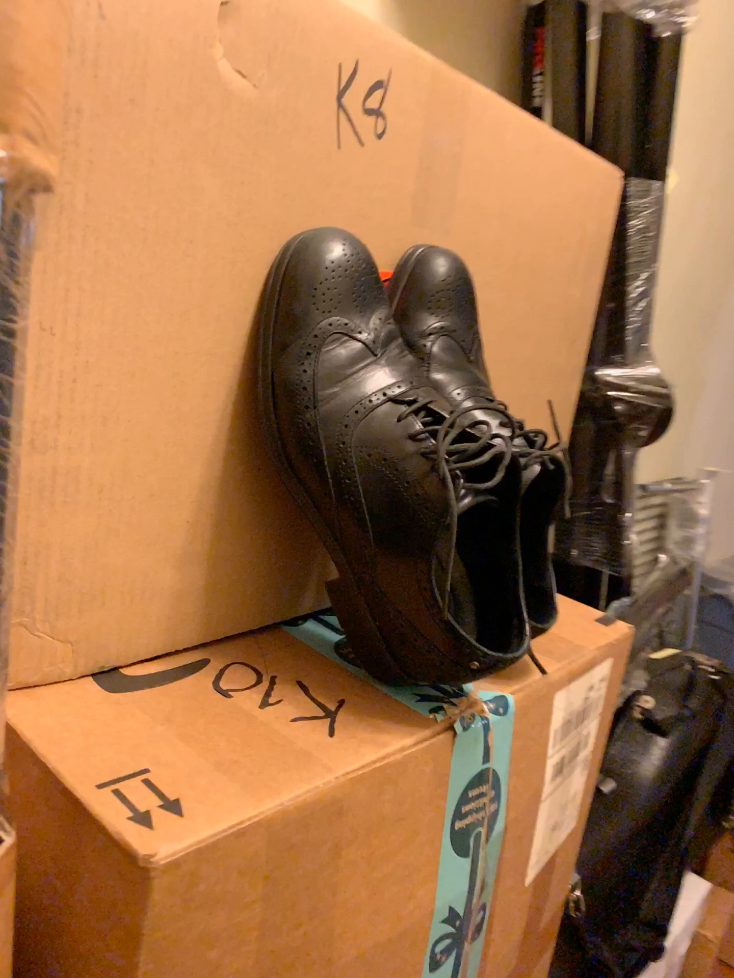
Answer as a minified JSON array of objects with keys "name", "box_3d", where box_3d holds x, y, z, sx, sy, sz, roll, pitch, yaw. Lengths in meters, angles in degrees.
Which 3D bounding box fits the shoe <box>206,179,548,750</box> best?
[{"name":"shoe","box_3d":[0.015,-0.017,0.437,0.100,0.279,0.120,-2,13,38]}]

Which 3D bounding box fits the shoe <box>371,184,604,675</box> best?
[{"name":"shoe","box_3d":[0.085,-0.037,0.510,0.100,0.280,0.120,0,3,39]}]
